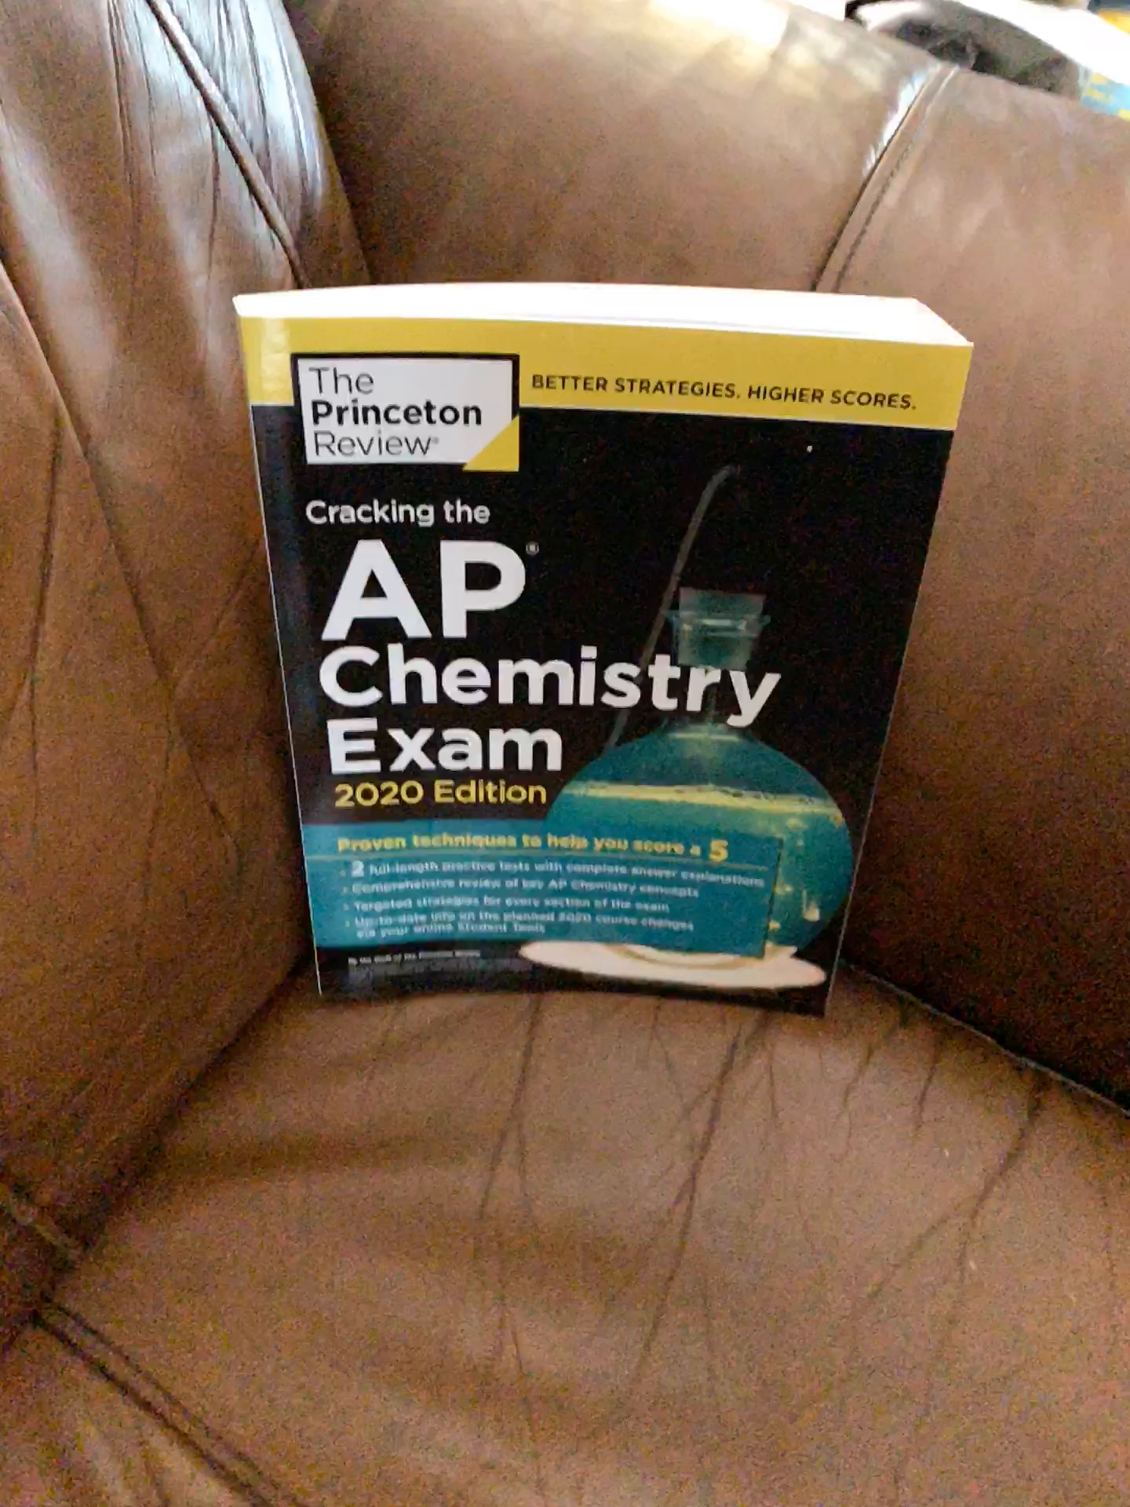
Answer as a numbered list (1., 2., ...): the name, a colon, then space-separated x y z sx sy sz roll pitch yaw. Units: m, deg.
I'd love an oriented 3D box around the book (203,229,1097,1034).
1. book: 0.014 -0.012 0.429 0.240 0.319 0.040 3 41 -3
